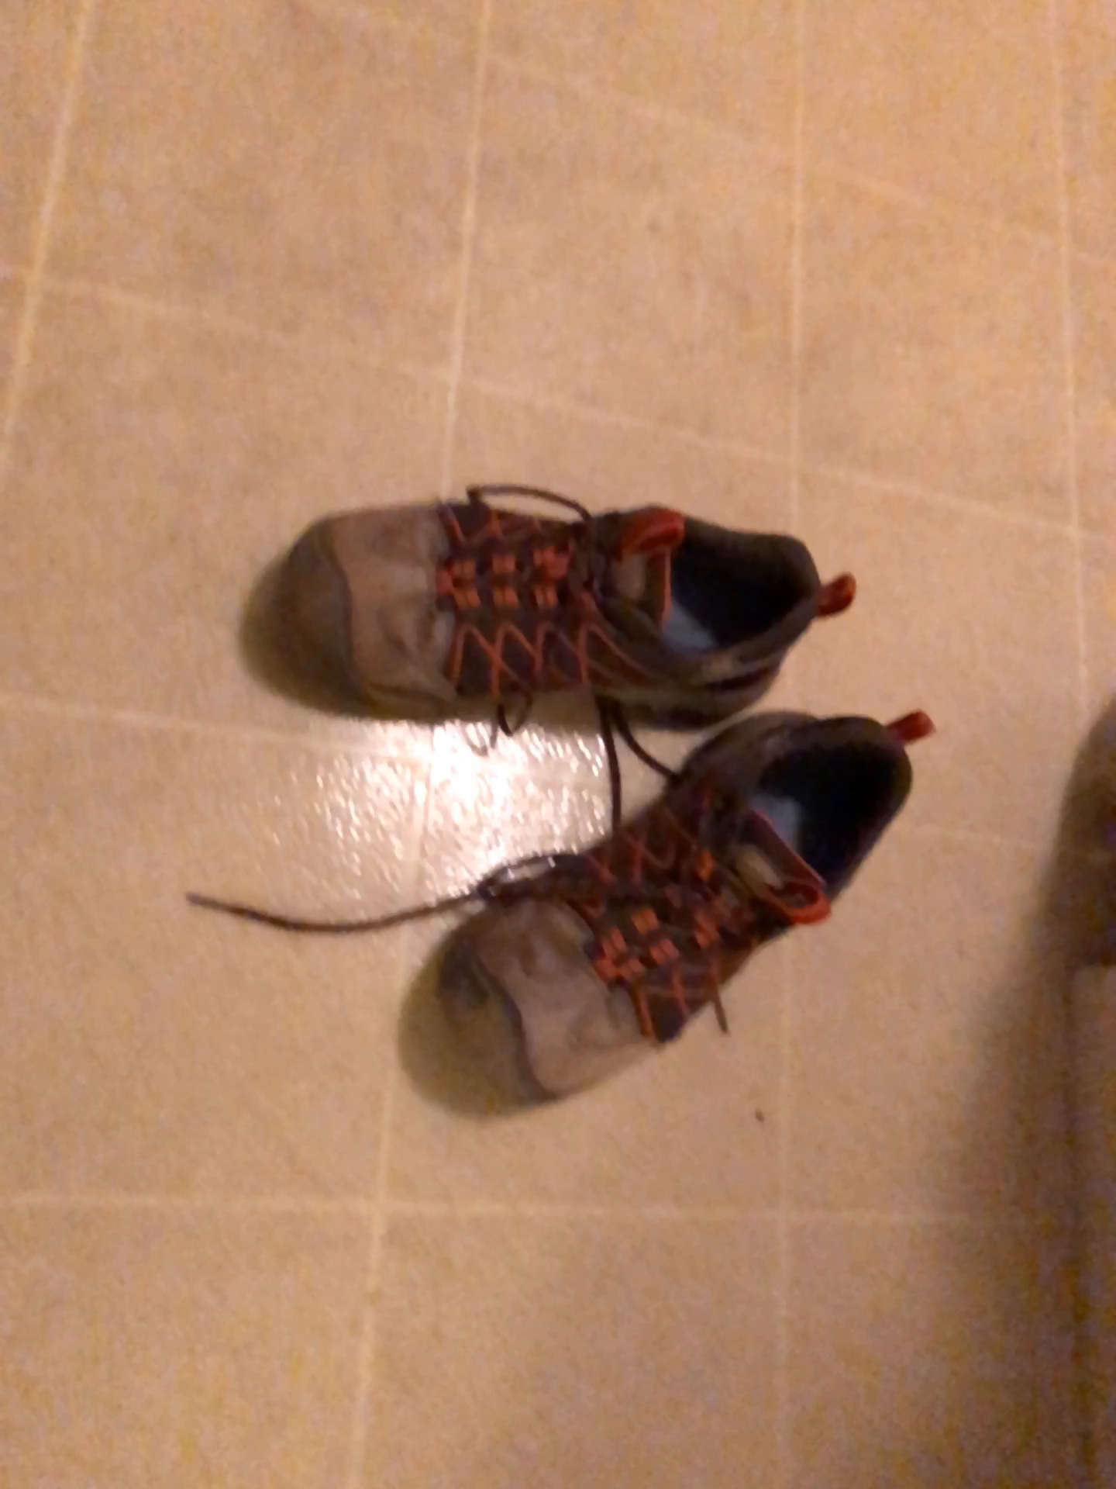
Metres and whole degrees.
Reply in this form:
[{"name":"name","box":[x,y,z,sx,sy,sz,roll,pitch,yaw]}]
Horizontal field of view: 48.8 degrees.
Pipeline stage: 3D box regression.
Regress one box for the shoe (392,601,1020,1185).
[{"name":"shoe","box":[0.077,0.069,0.631,0.283,0.122,0.127,-37,92,-23]}]

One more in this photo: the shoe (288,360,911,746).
[{"name":"shoe","box":[0.020,-0.086,0.640,0.292,0.122,0.127,5,76,-19]}]
